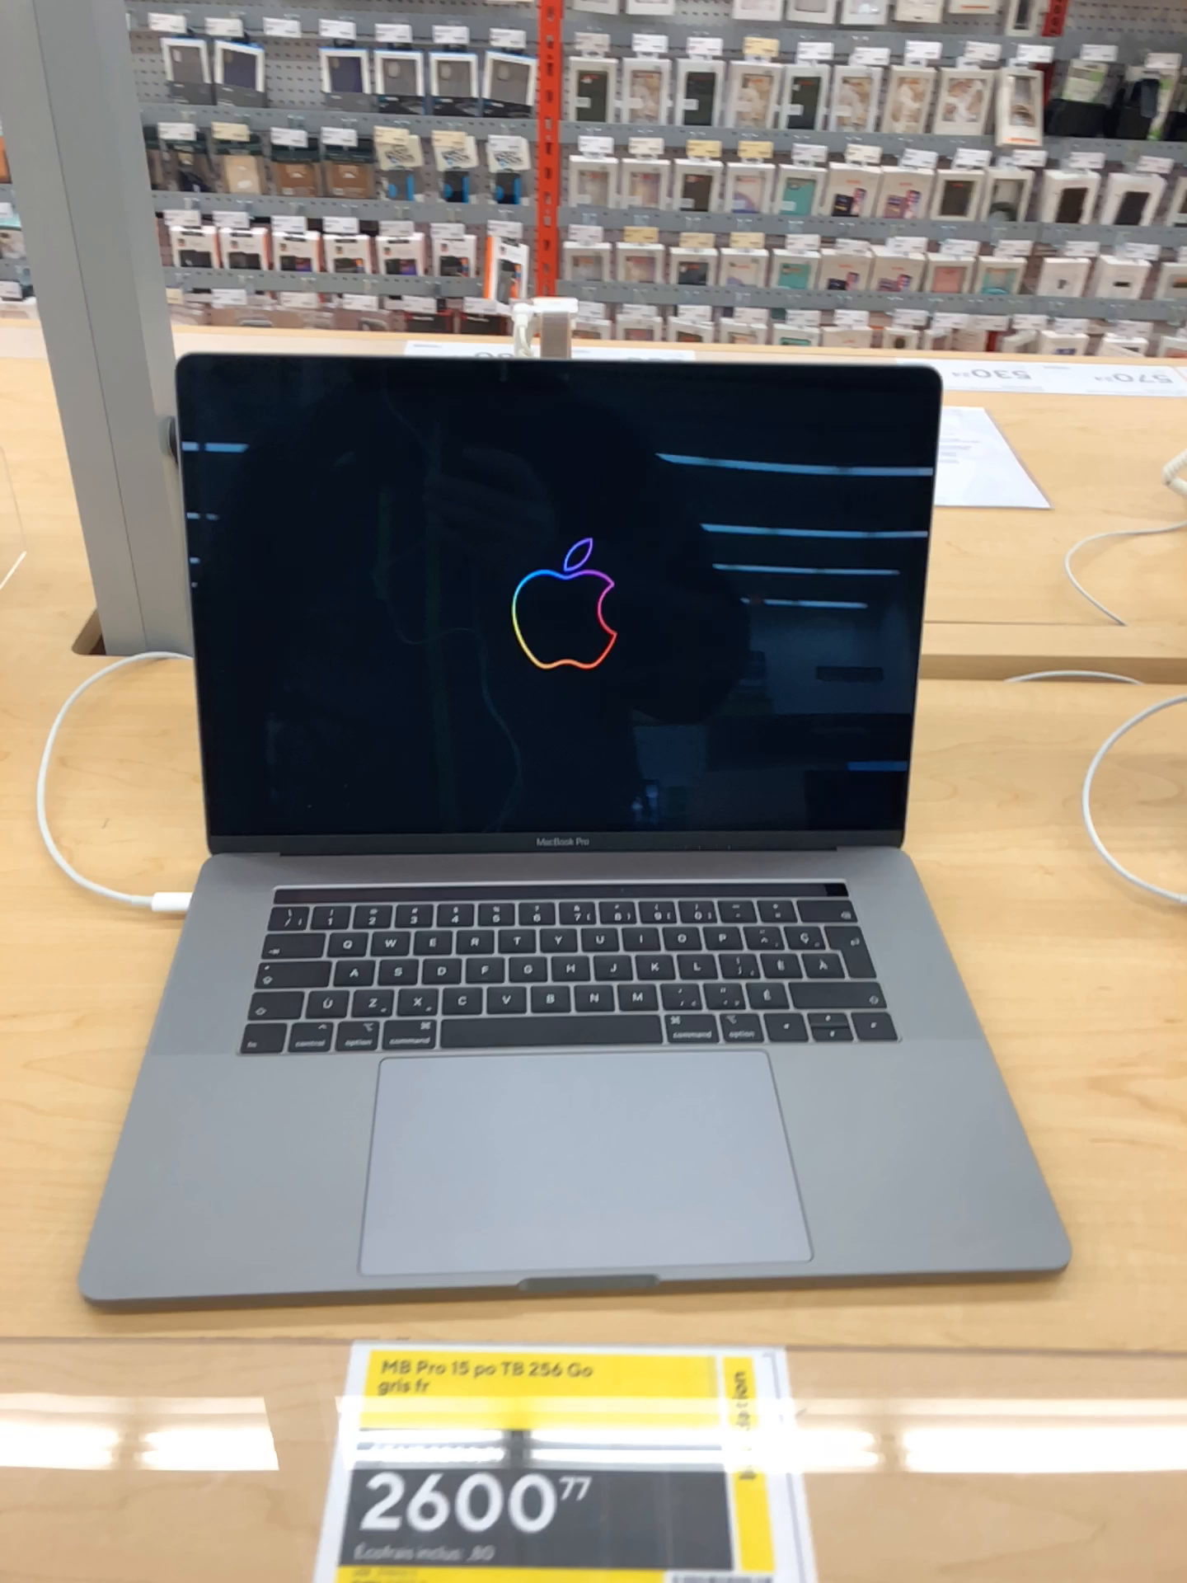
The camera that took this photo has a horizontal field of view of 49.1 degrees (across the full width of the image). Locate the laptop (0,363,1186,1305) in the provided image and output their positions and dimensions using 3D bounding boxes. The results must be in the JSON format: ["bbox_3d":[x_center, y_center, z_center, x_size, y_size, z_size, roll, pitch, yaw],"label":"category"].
[{"bbox_3d":[-0.004,-0.009,0.502,0.329,0.212,0.299,-1,36,-5],"label":"laptop"}]
